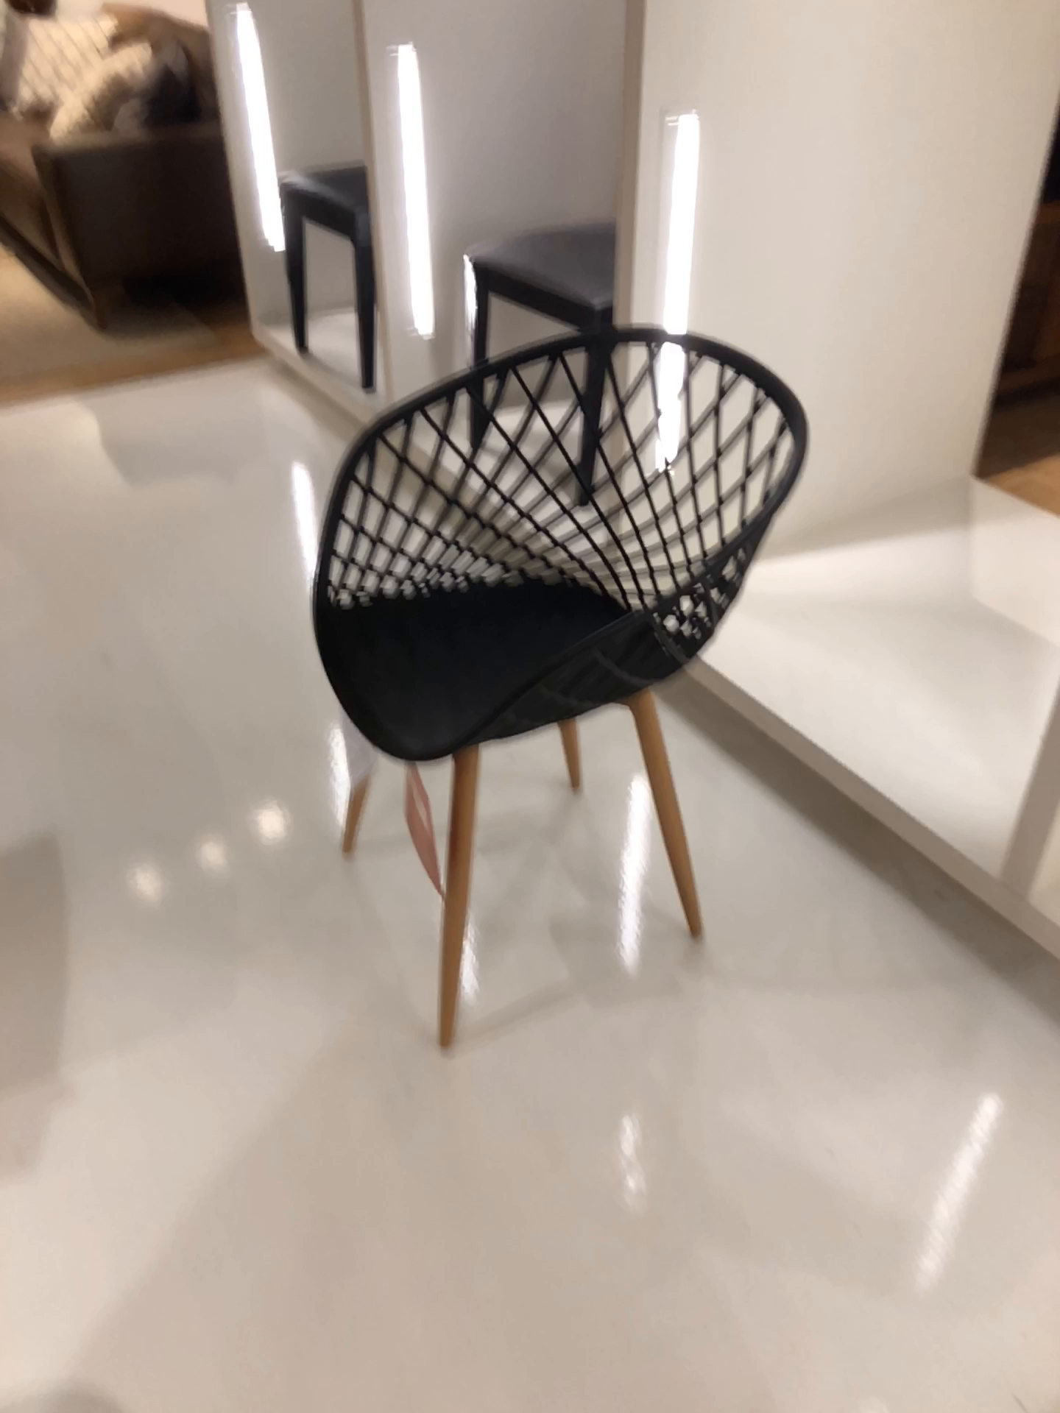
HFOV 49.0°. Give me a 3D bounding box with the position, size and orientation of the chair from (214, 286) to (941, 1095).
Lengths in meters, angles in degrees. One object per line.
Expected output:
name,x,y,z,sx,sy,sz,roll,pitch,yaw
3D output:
chair,0.016,-0.067,1.514,0.601,0.704,0.625,-16,38,-20
